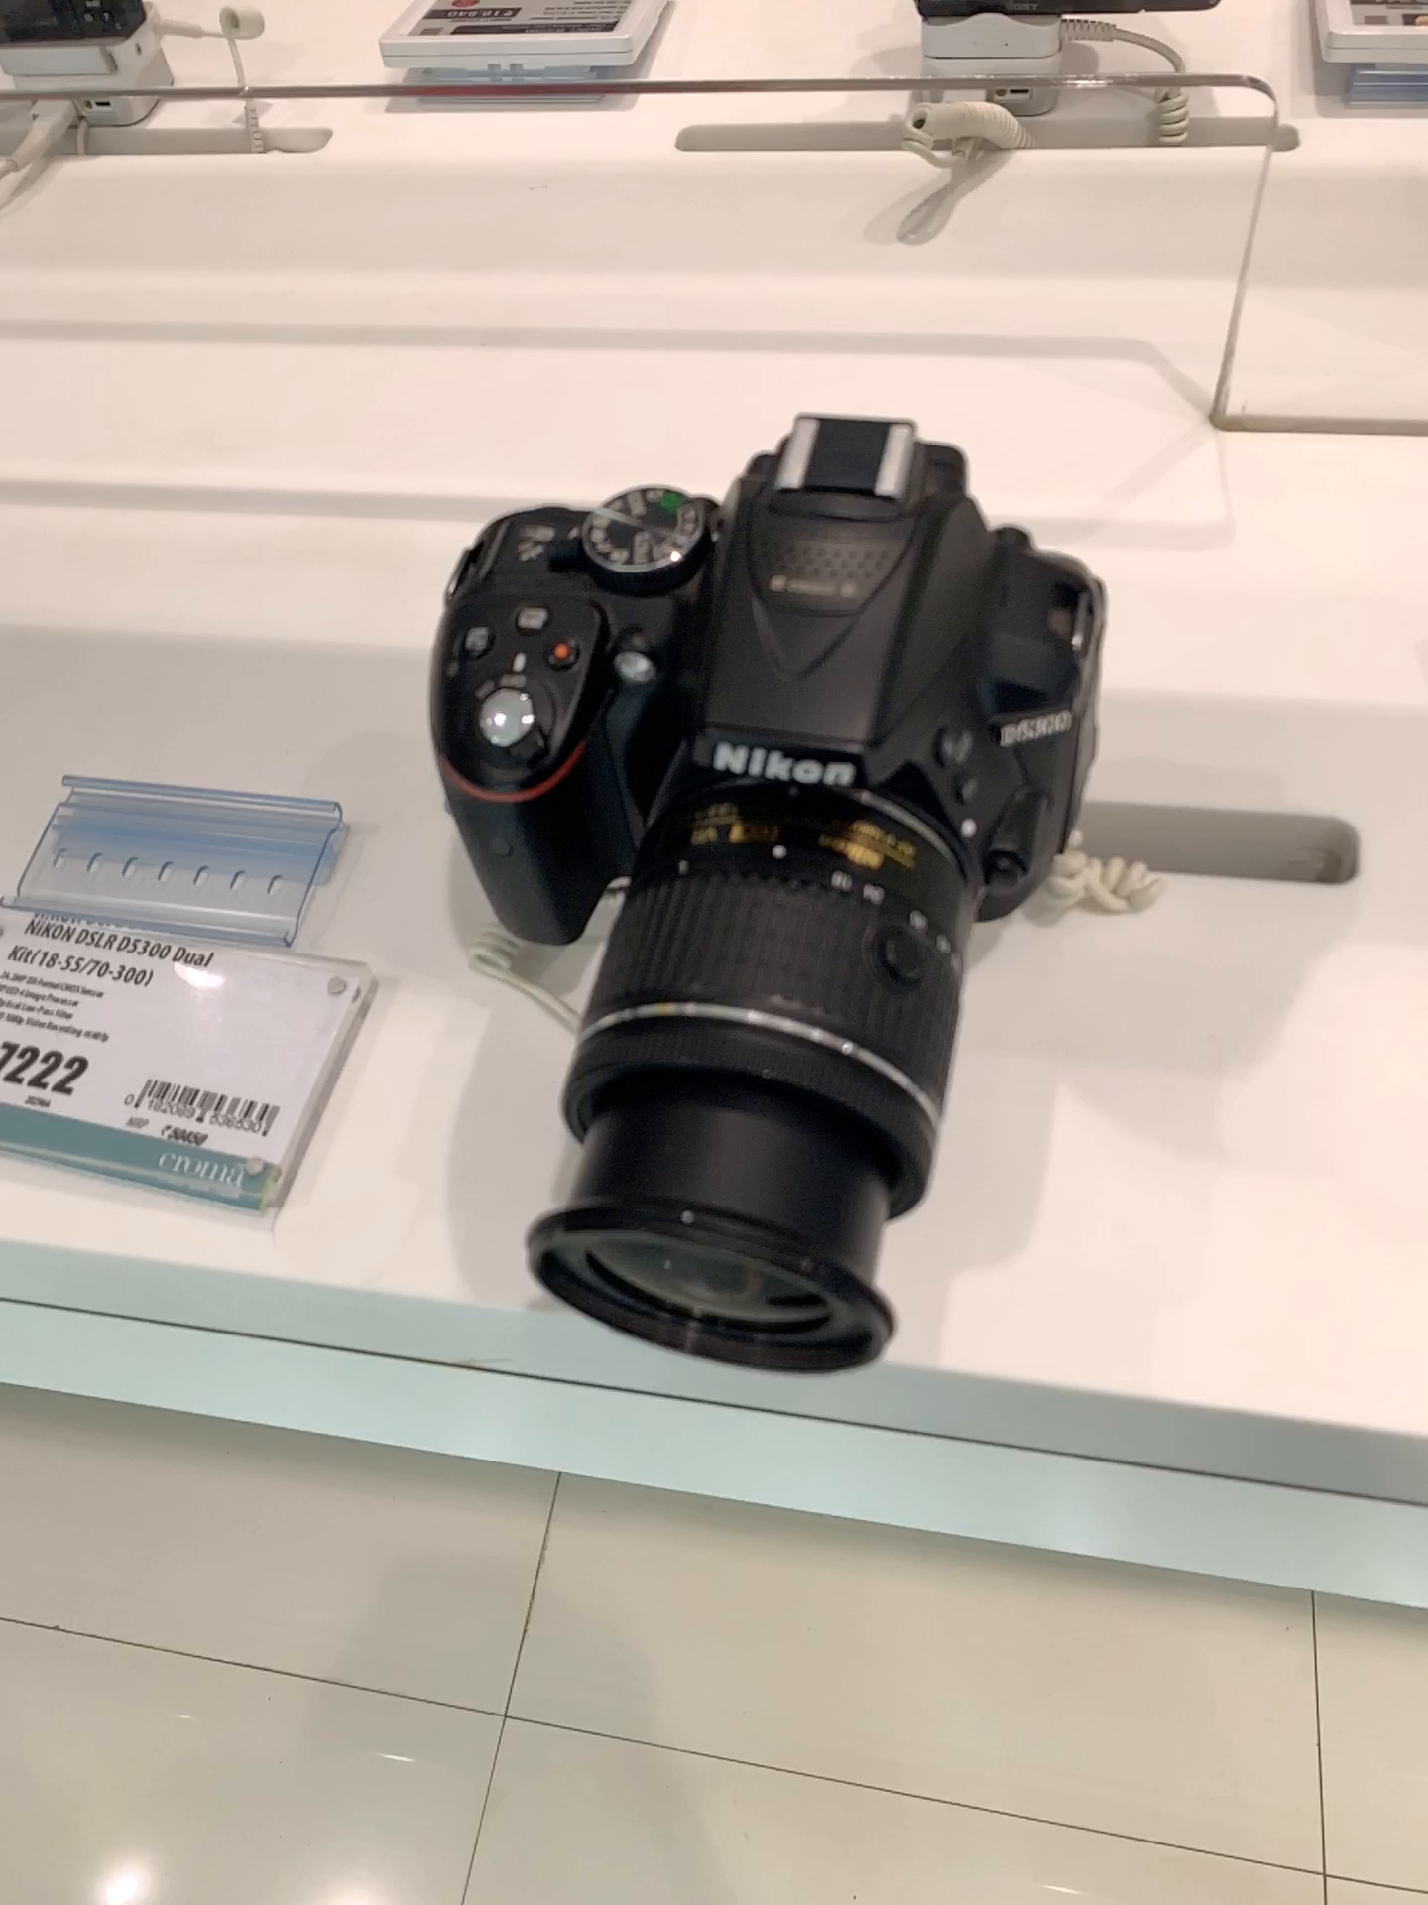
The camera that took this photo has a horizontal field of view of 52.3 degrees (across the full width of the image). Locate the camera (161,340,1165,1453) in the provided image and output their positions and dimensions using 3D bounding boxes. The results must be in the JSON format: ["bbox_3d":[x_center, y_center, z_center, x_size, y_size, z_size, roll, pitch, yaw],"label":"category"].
[{"bbox_3d":[0.007,-0.011,0.251,0.110,0.110,0.140,9,57,13],"label":"camera"}]
